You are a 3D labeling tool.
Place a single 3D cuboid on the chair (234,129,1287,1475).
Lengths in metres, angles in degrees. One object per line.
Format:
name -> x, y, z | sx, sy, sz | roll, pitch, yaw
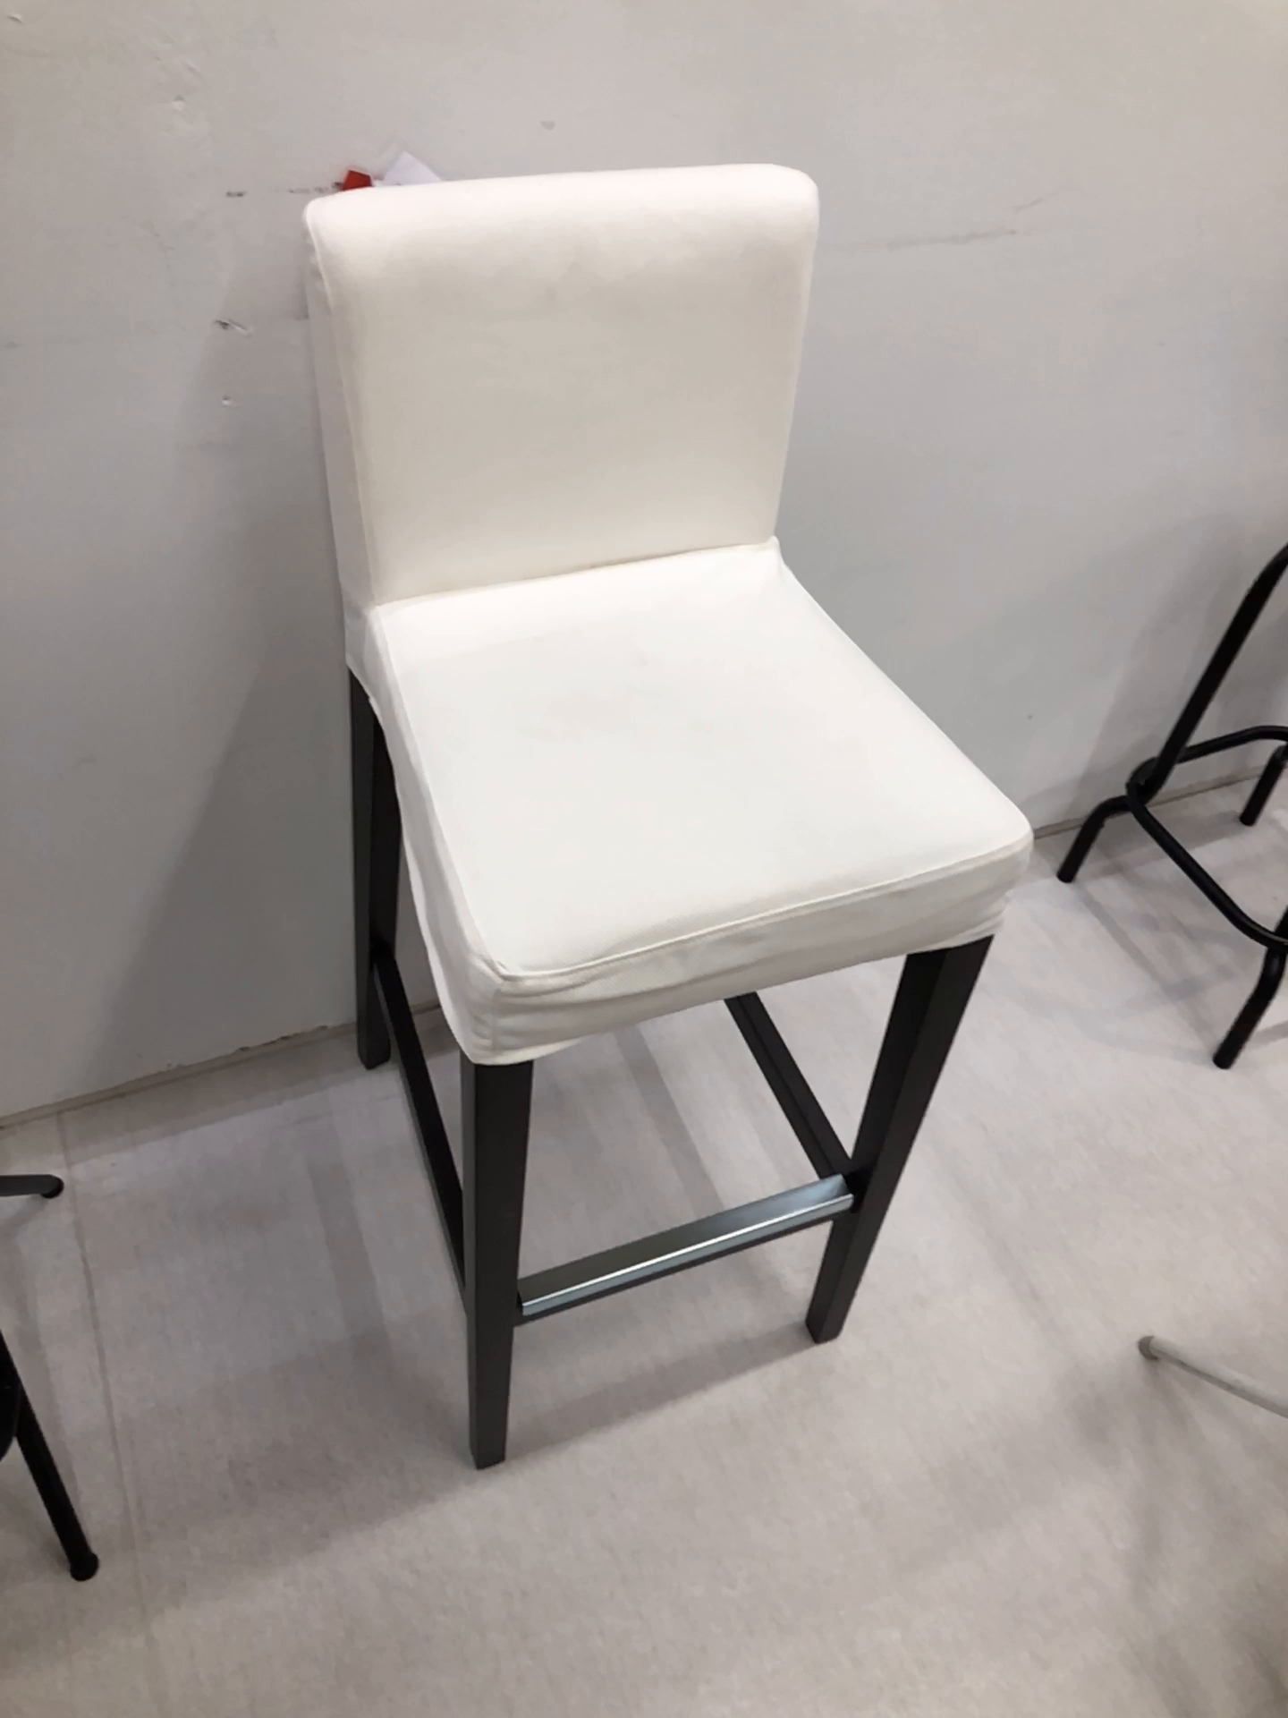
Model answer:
chair -> 0.008, -0.011, 1.117 | 0.441, 0.855, 0.533 | -14, 49, -19
